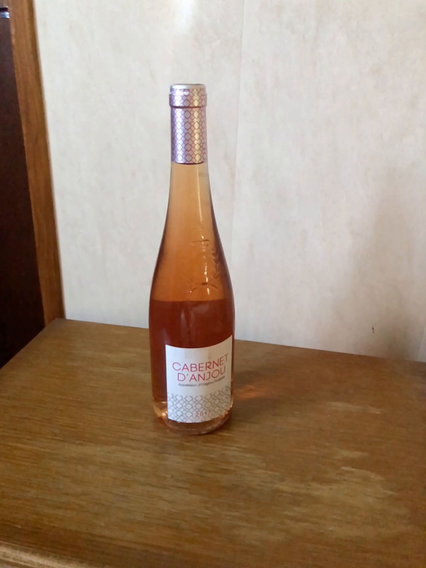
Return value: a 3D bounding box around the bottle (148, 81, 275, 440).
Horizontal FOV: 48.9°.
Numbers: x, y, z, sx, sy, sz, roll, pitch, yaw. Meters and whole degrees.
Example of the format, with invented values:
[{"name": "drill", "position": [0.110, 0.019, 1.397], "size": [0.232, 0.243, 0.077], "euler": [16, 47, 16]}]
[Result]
[{"name": "bottle", "position": [-0.010, -0.016, 0.415], "size": [0.080, 0.298, 0.090], "euler": [-3, 24, -12]}]
